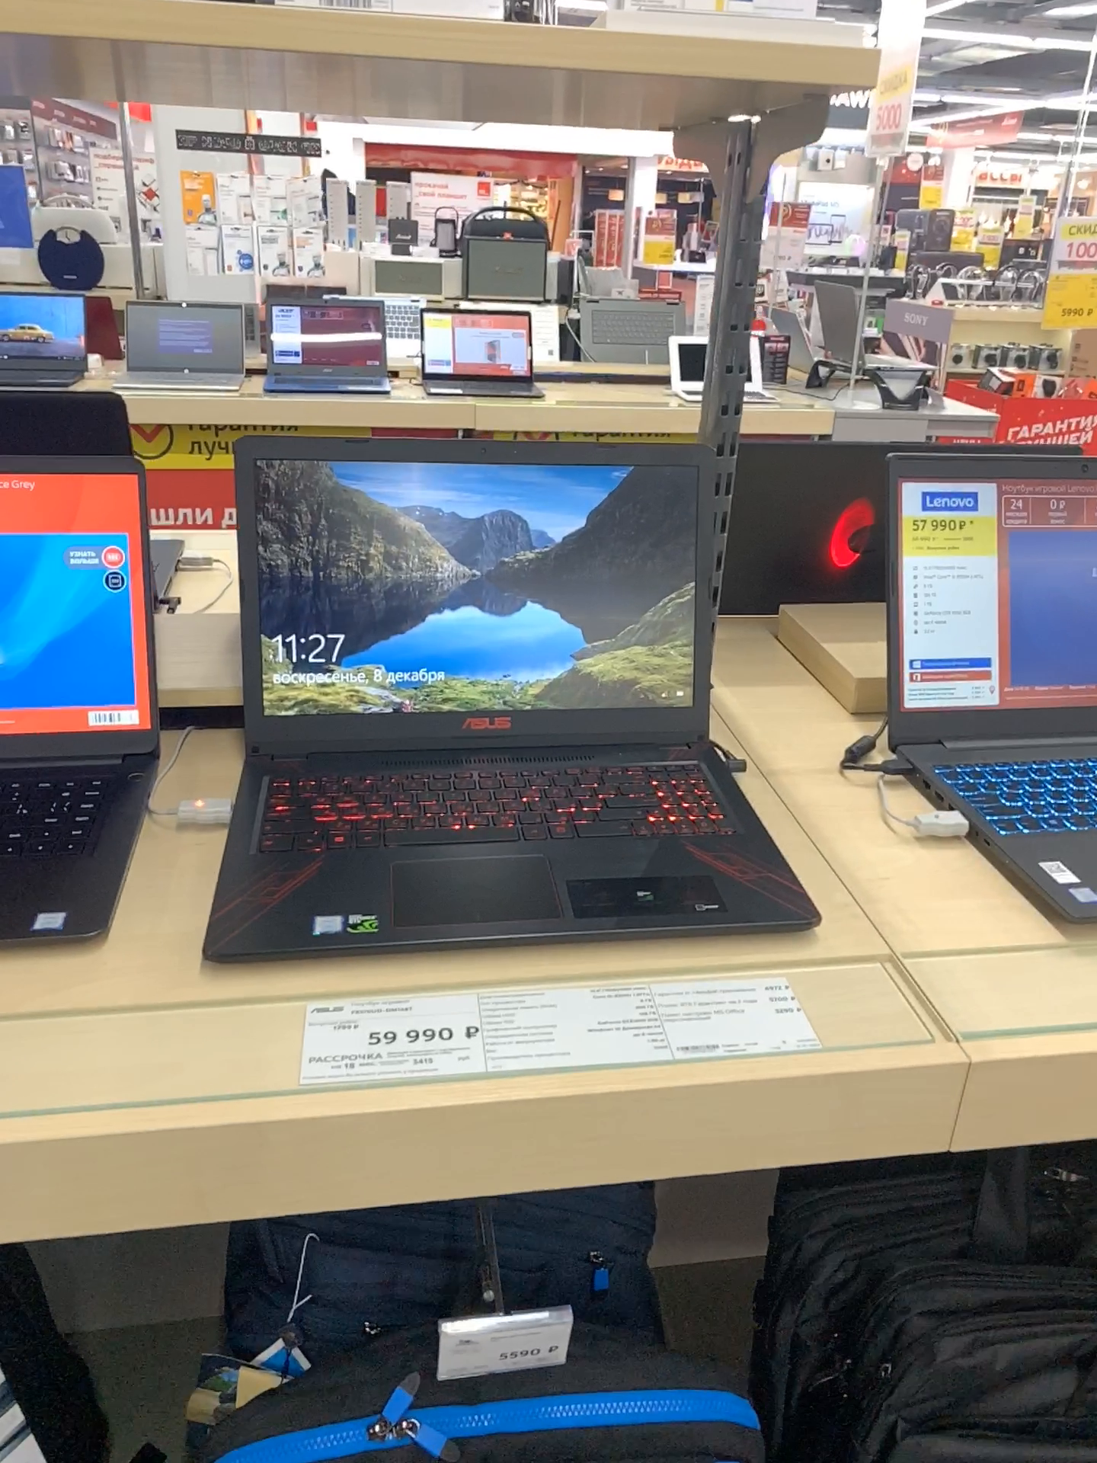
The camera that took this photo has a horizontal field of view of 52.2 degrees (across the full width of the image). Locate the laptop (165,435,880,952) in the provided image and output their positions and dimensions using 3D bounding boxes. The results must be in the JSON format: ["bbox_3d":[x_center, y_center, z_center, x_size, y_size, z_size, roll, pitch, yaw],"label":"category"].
[{"bbox_3d":[-0.033,-0.052,0.757,0.366,0.229,0.318,-1,24,-9],"label":"laptop"}]
